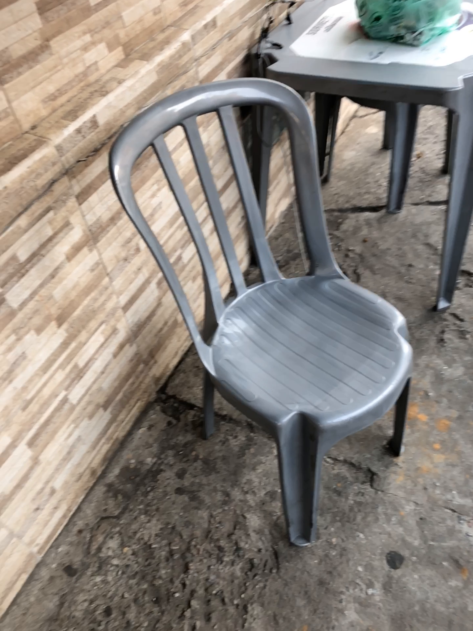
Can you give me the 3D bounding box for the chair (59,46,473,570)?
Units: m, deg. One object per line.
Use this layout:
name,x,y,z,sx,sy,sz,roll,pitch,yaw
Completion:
chair,0.102,0.023,1.047,0.441,0.834,0.502,-35,52,-22
